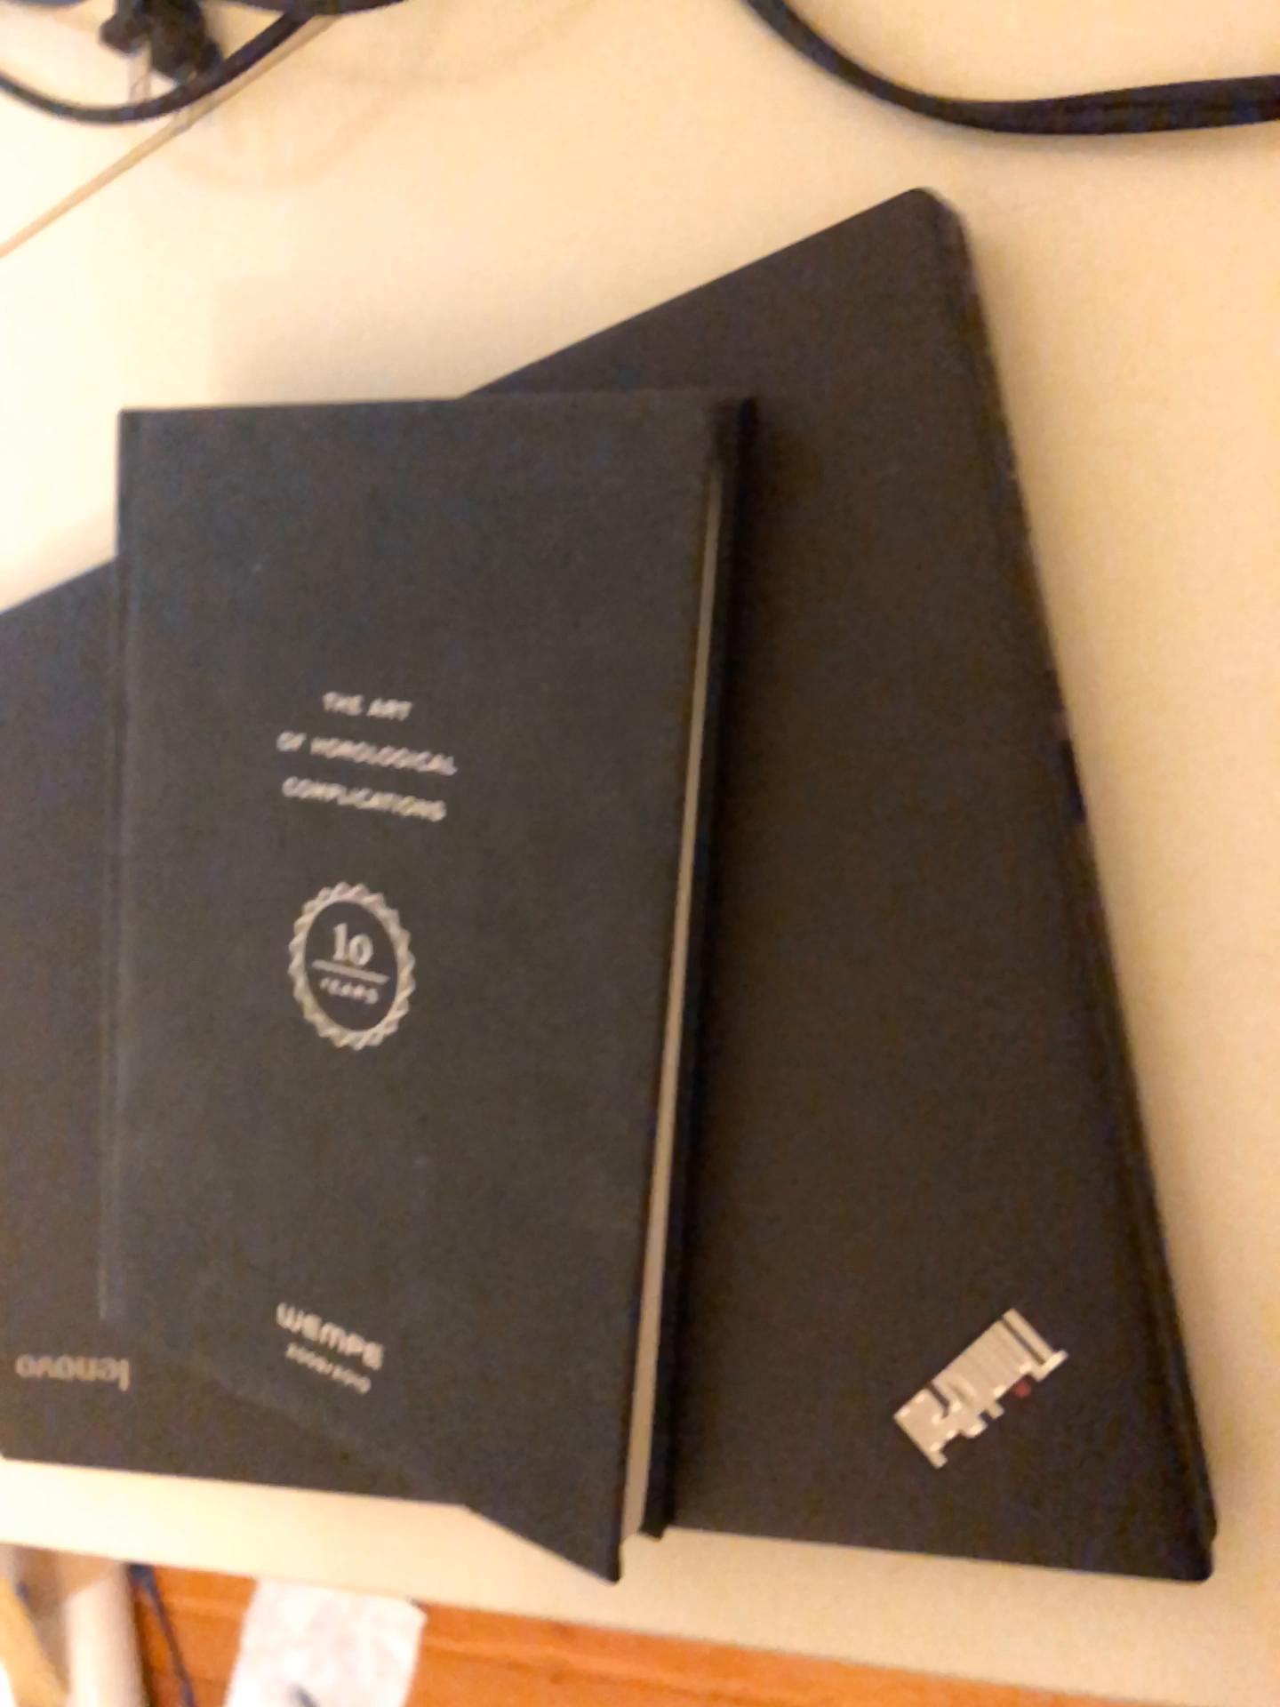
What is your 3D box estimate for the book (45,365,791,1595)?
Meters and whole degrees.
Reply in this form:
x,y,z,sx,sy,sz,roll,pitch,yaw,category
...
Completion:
x,y,z,sx,sy,sz,roll,pitch,yaw,category
-0.060,0.016,0.310,0.171,0.030,0.220,9,98,33,book
